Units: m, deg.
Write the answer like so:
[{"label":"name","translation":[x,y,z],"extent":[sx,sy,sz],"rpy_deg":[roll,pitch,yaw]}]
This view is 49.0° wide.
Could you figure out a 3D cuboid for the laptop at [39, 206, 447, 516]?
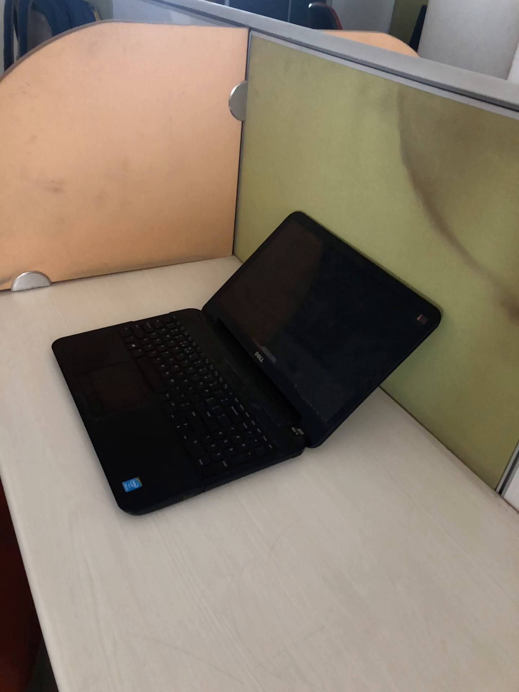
[{"label":"laptop","translation":[-0.040,-0.024,0.803],"extent":[0.427,0.158,0.357],"rpy_deg":[-15,41,-25]}]
